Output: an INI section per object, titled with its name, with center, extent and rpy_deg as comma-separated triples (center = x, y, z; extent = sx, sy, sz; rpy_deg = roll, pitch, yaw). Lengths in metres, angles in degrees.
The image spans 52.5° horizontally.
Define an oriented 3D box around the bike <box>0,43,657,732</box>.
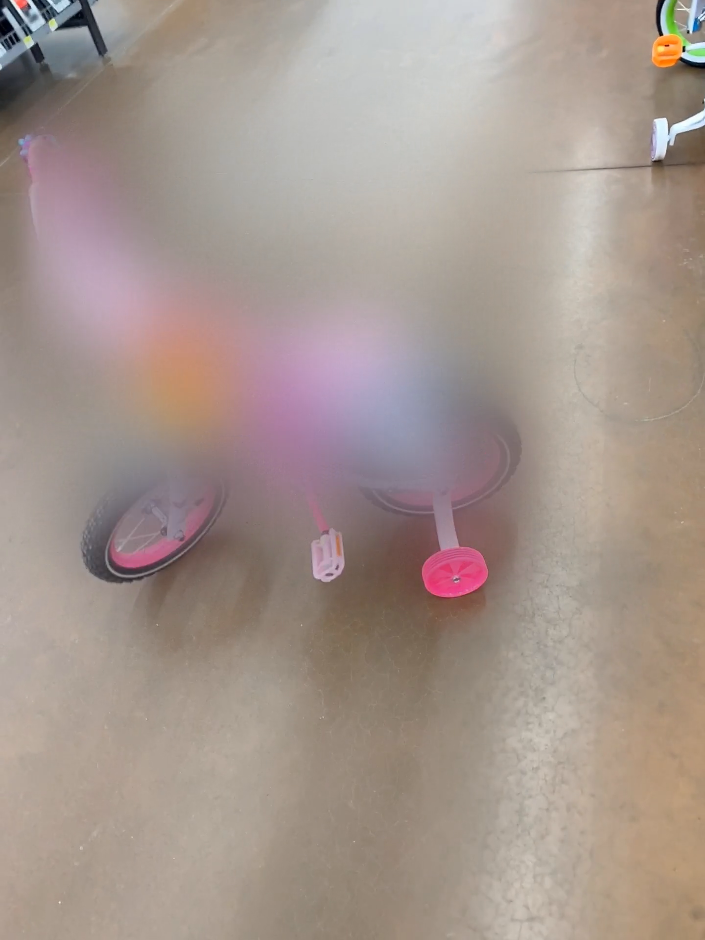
[bike]
center = -0.103, -0.077, 1.046
extent = 0.758, 0.750, 0.445
rpy_deg = -19, 47, -5
